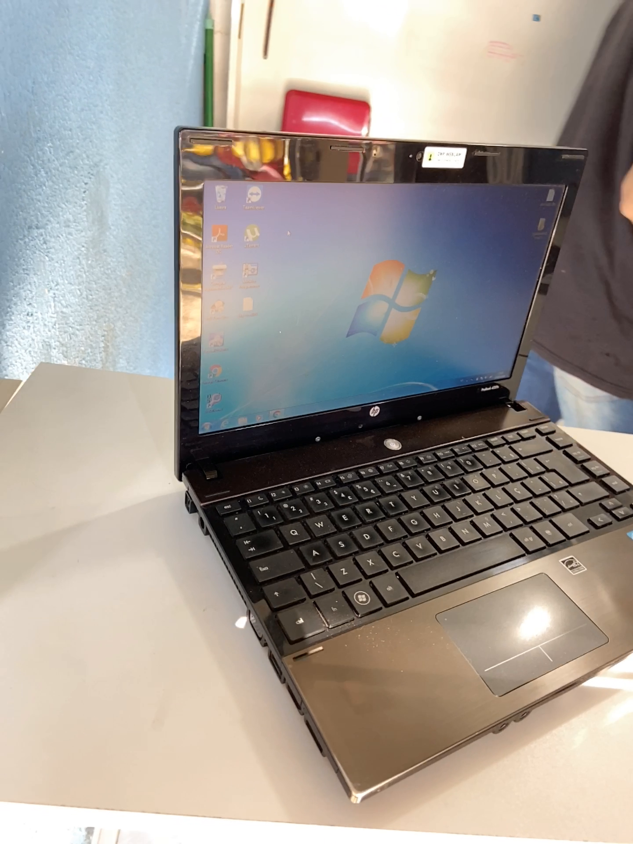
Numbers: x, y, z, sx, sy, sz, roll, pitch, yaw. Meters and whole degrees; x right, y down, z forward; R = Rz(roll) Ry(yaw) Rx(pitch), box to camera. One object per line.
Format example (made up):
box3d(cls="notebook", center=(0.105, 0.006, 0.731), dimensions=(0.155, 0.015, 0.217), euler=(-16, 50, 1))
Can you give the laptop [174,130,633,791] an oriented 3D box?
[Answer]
box3d(cls="laptop", center=(0.110, -0.026, 0.394), dimensions=(0.322, 0.207, 0.260), euler=(-11, 38, -27))
